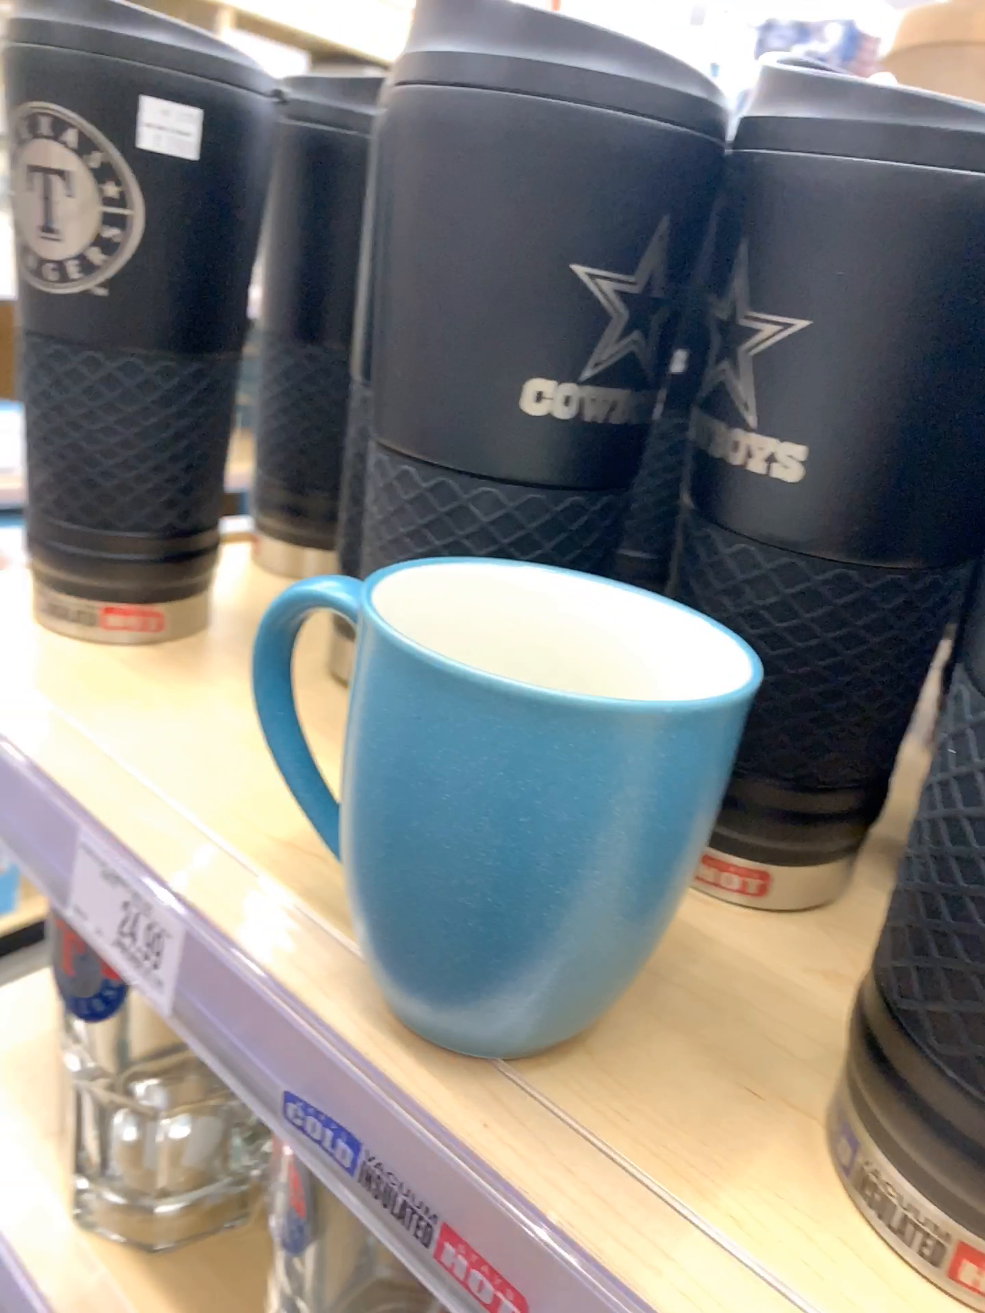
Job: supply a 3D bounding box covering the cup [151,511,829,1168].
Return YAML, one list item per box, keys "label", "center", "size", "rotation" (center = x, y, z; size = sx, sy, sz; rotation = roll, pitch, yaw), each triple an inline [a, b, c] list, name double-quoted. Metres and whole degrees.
- label: "cup"
  center: [-0.003, 0.027, 0.239]
  size: [0.116, 0.084, 0.090]
  rotation: [22, 24, 28]
